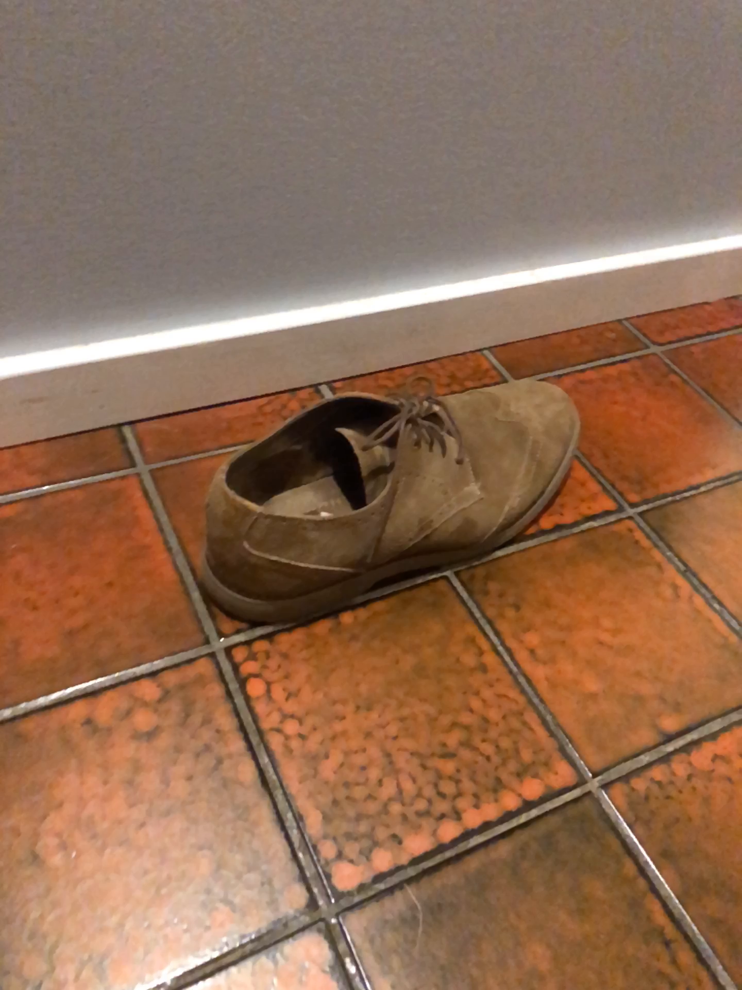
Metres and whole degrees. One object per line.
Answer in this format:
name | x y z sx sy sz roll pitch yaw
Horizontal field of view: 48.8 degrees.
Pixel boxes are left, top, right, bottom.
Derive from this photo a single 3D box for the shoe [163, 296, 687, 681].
shoe | 0.038 -0.020 0.516 0.300 0.100 0.120 -22 54 -28
